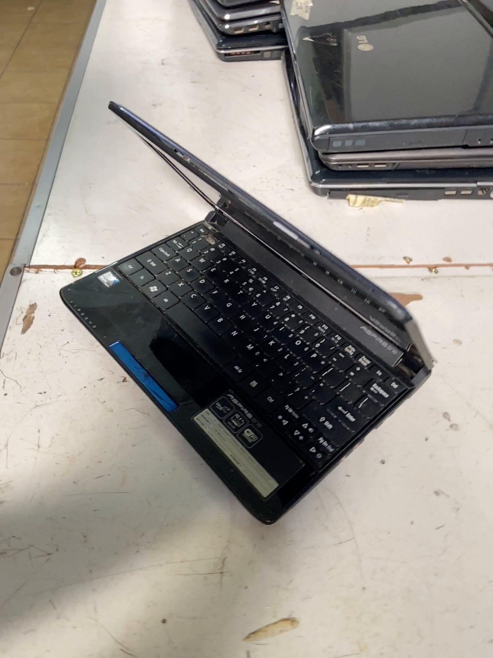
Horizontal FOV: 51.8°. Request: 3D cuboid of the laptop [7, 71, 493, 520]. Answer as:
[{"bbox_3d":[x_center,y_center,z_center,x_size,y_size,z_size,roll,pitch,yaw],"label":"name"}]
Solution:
[{"bbox_3d":[-0.003,-0.042,0.344,0.171,0.131,0.244,-34,59,-28],"label":"laptop"}]
